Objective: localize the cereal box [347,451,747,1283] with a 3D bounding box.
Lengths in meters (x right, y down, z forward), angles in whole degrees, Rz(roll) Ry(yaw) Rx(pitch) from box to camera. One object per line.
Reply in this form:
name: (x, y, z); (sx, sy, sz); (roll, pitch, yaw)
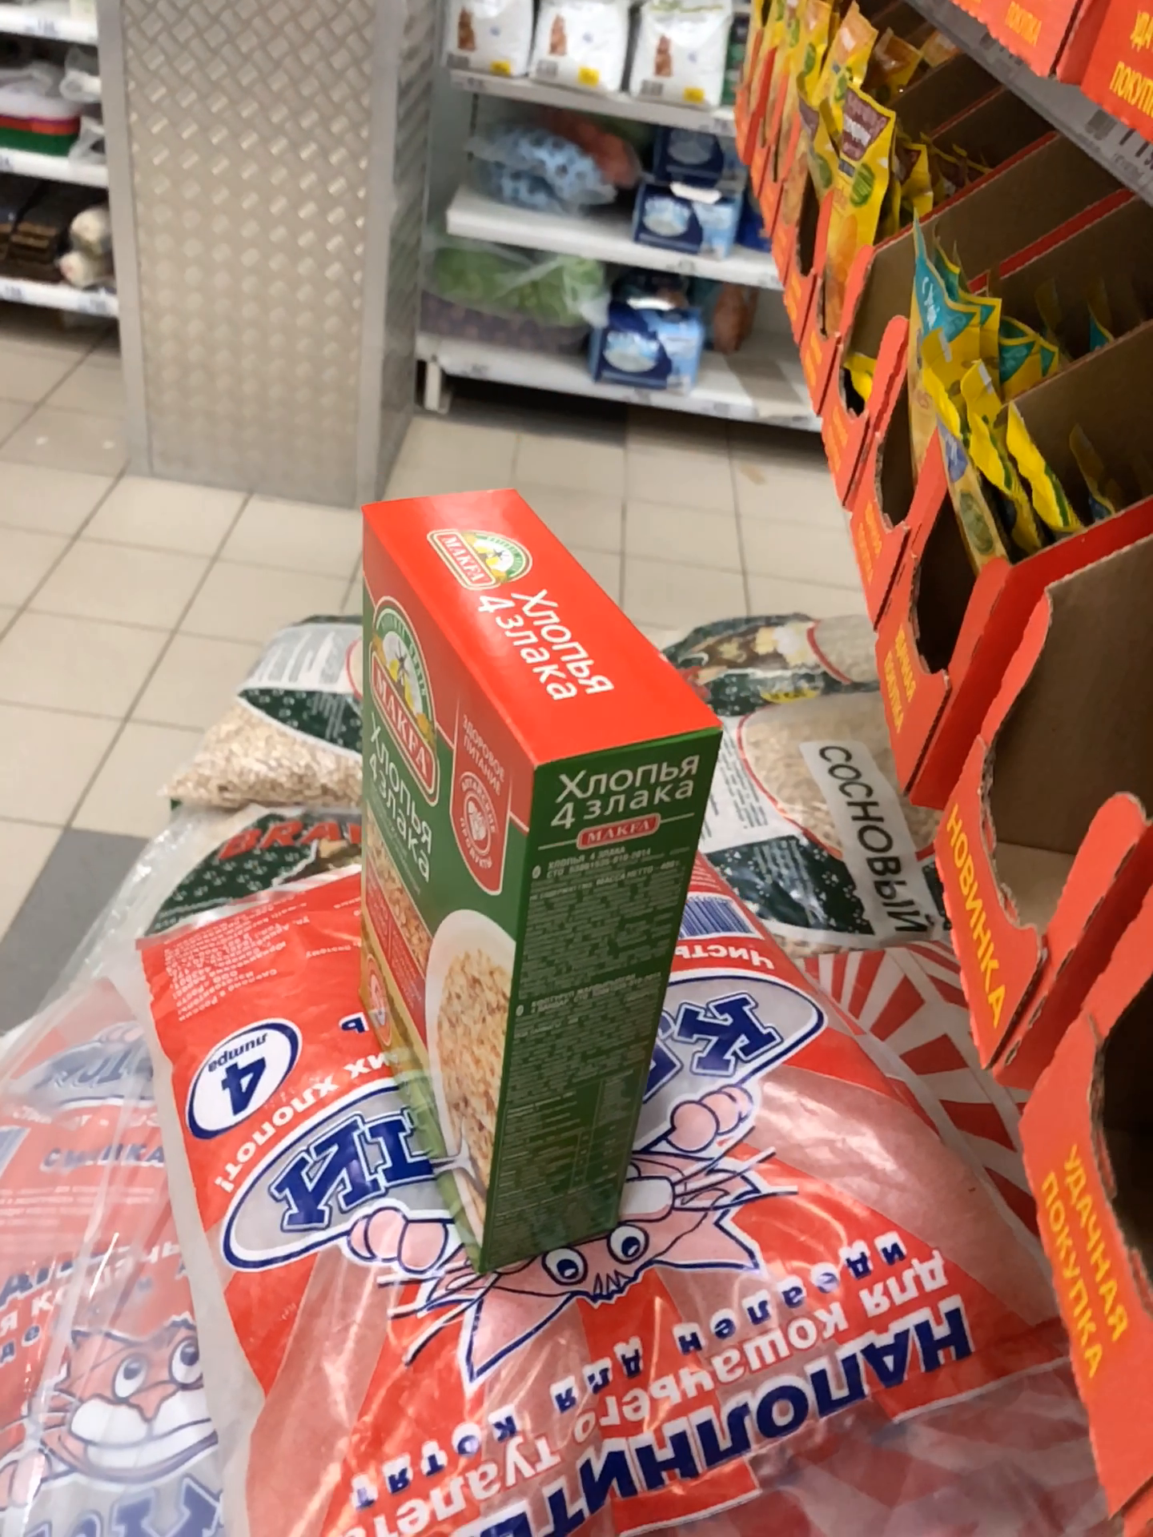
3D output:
cereal box: (-0.026, 0.035, 0.400); (0.050, 0.218, 0.141); (-12, 43, -24)
